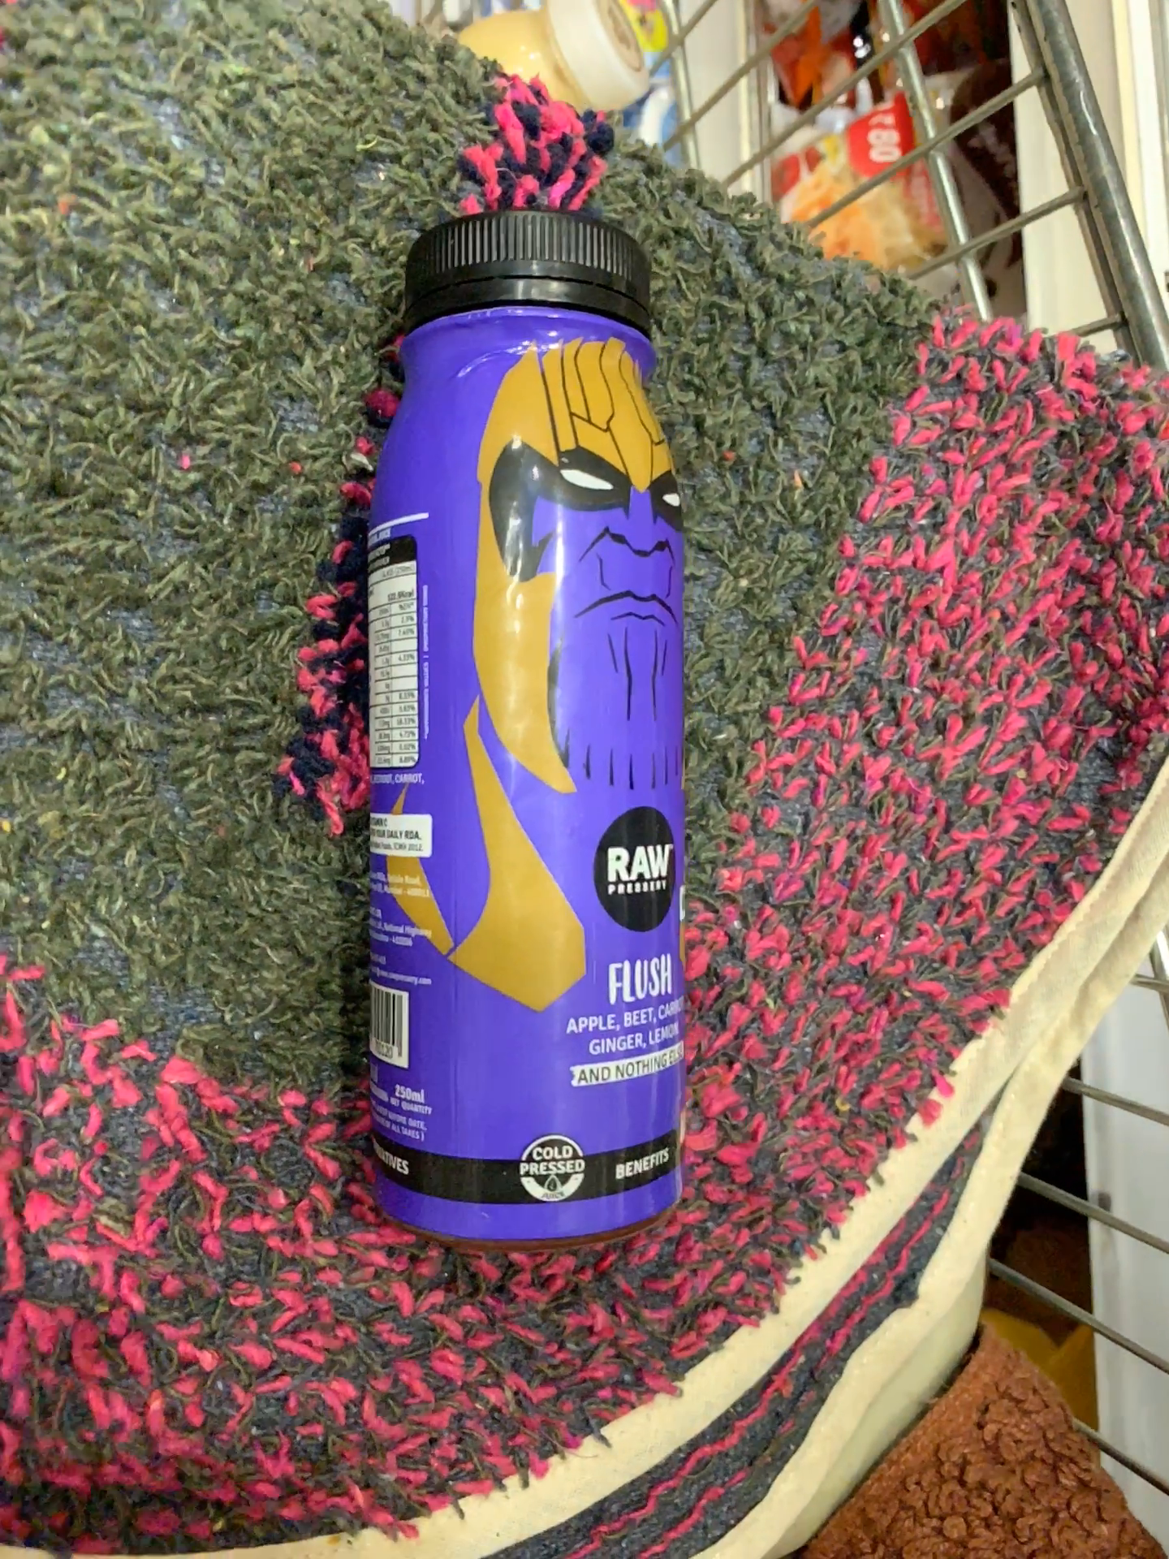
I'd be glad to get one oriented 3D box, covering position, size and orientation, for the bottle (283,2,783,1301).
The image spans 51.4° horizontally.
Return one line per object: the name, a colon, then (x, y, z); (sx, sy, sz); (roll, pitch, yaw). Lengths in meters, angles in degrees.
bottle: (-0.009, -0.017, 0.196); (0.060, 0.050, 0.170); (1, 87, -38)
